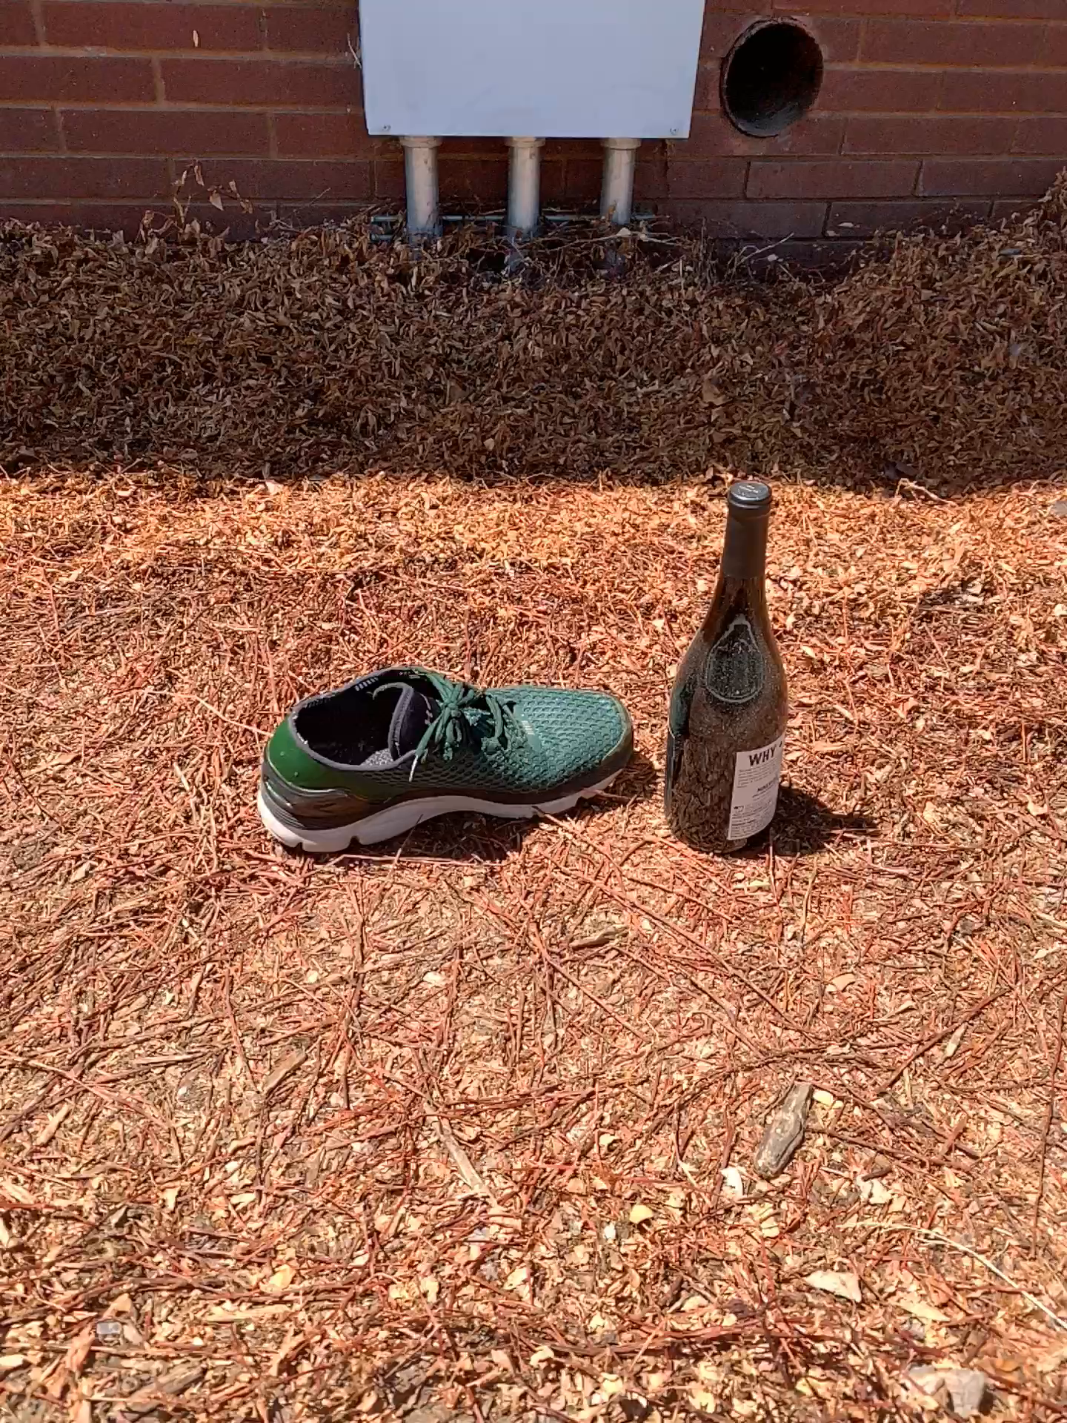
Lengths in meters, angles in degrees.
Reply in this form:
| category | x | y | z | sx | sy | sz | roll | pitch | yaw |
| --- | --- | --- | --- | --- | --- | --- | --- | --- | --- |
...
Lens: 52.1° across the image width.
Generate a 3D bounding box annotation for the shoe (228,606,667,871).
| category | x | y | z | sx | sy | sz | roll | pitch | yaw |
| --- | --- | --- | --- | --- | --- | --- | --- | --- | --- |
| shoe | -0.068 | 0.014 | 0.830 | 0.300 | 0.099 | 0.131 | -8 | 41 | -13 |
